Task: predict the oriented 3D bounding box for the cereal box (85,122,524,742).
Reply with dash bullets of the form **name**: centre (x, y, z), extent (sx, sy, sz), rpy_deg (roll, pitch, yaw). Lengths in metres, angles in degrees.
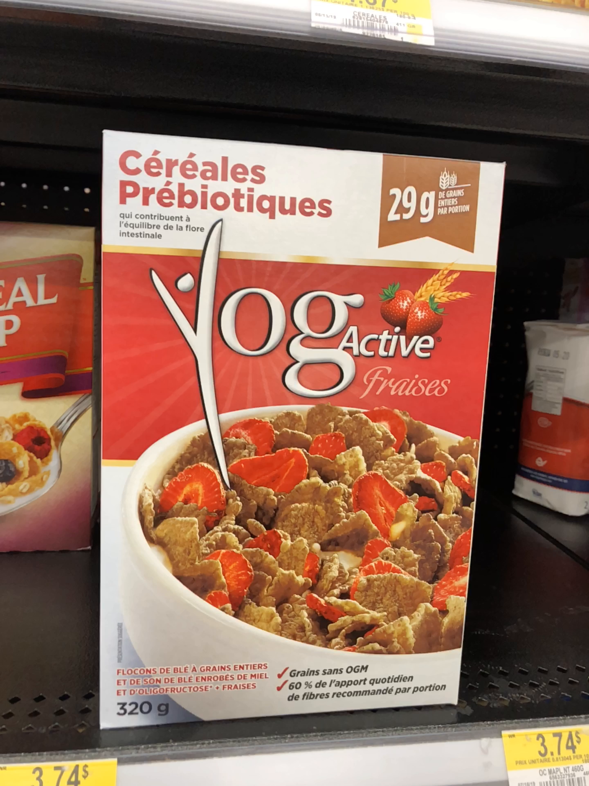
- **cereal box**: centre (-0.001, 0.026, 0.339), extent (0.200, 0.289, 0.050), rpy_deg (1, 9, -10)
